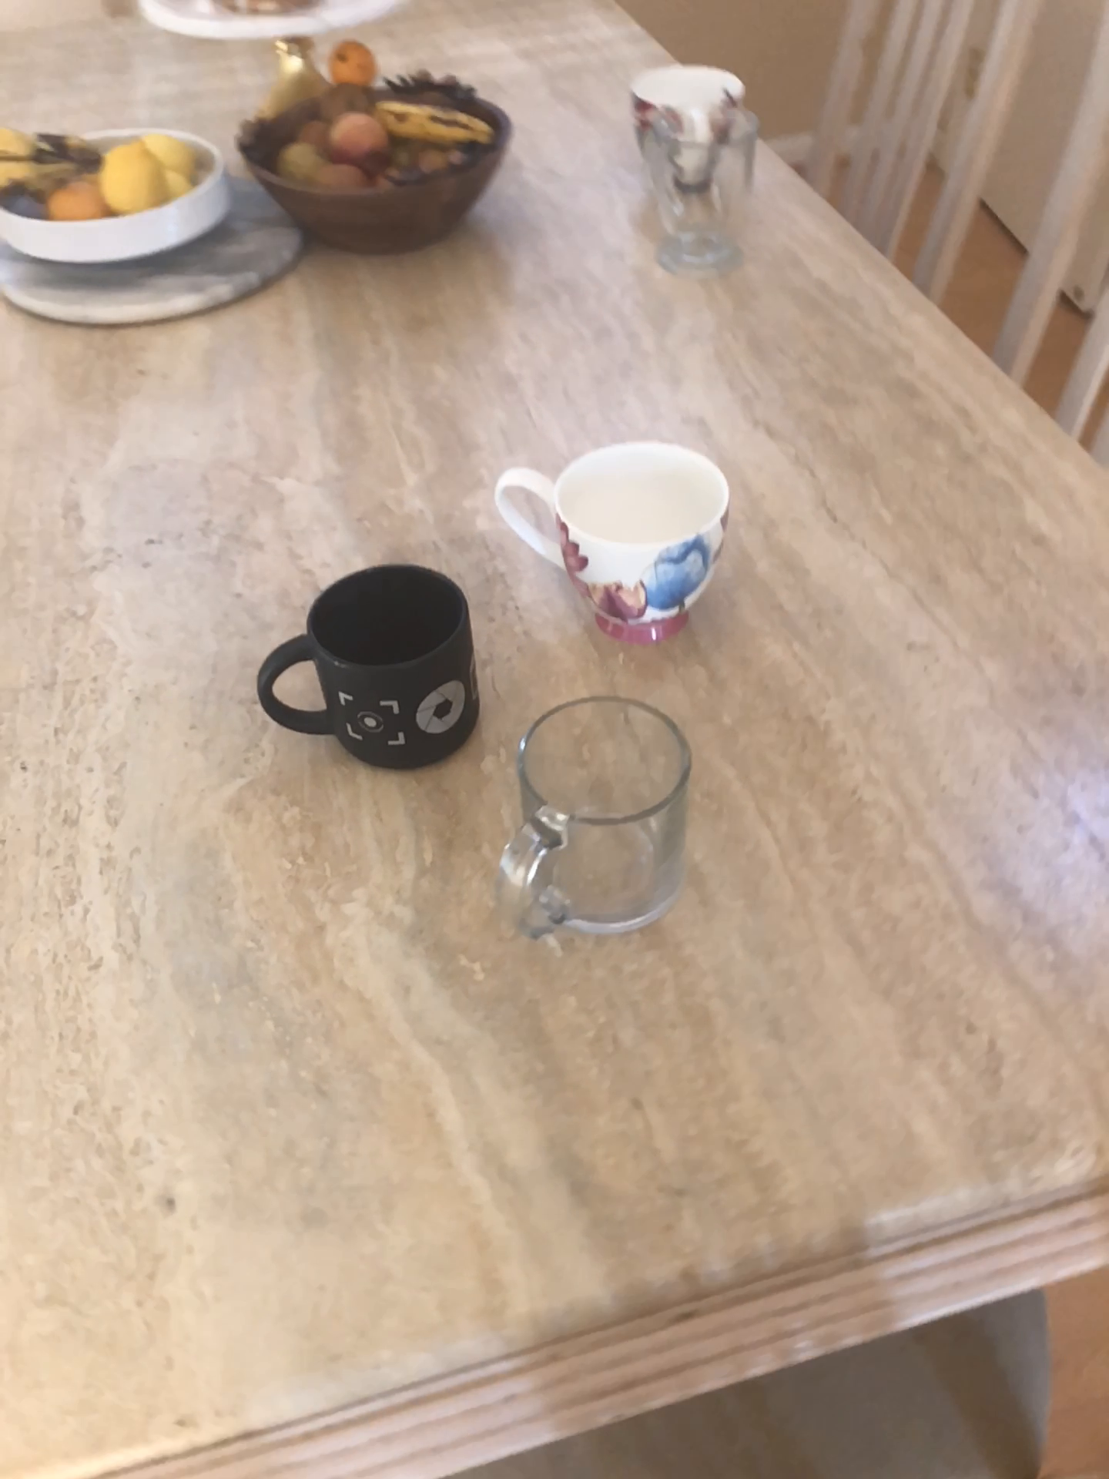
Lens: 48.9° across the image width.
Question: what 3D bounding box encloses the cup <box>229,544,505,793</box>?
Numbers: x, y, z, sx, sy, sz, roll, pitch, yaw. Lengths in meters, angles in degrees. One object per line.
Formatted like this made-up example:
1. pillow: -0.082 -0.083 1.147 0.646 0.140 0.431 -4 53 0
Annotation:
1. cup: -0.105 -0.042 0.717 0.140 0.089 0.101 -5 46 -2

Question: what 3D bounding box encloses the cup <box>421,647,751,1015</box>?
1. cup: 0.019 0.043 0.618 0.090 0.089 0.141 30 55 28

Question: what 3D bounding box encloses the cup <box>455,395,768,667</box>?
1. cup: 0.039 -0.136 0.779 0.160 0.089 0.121 15 49 17
